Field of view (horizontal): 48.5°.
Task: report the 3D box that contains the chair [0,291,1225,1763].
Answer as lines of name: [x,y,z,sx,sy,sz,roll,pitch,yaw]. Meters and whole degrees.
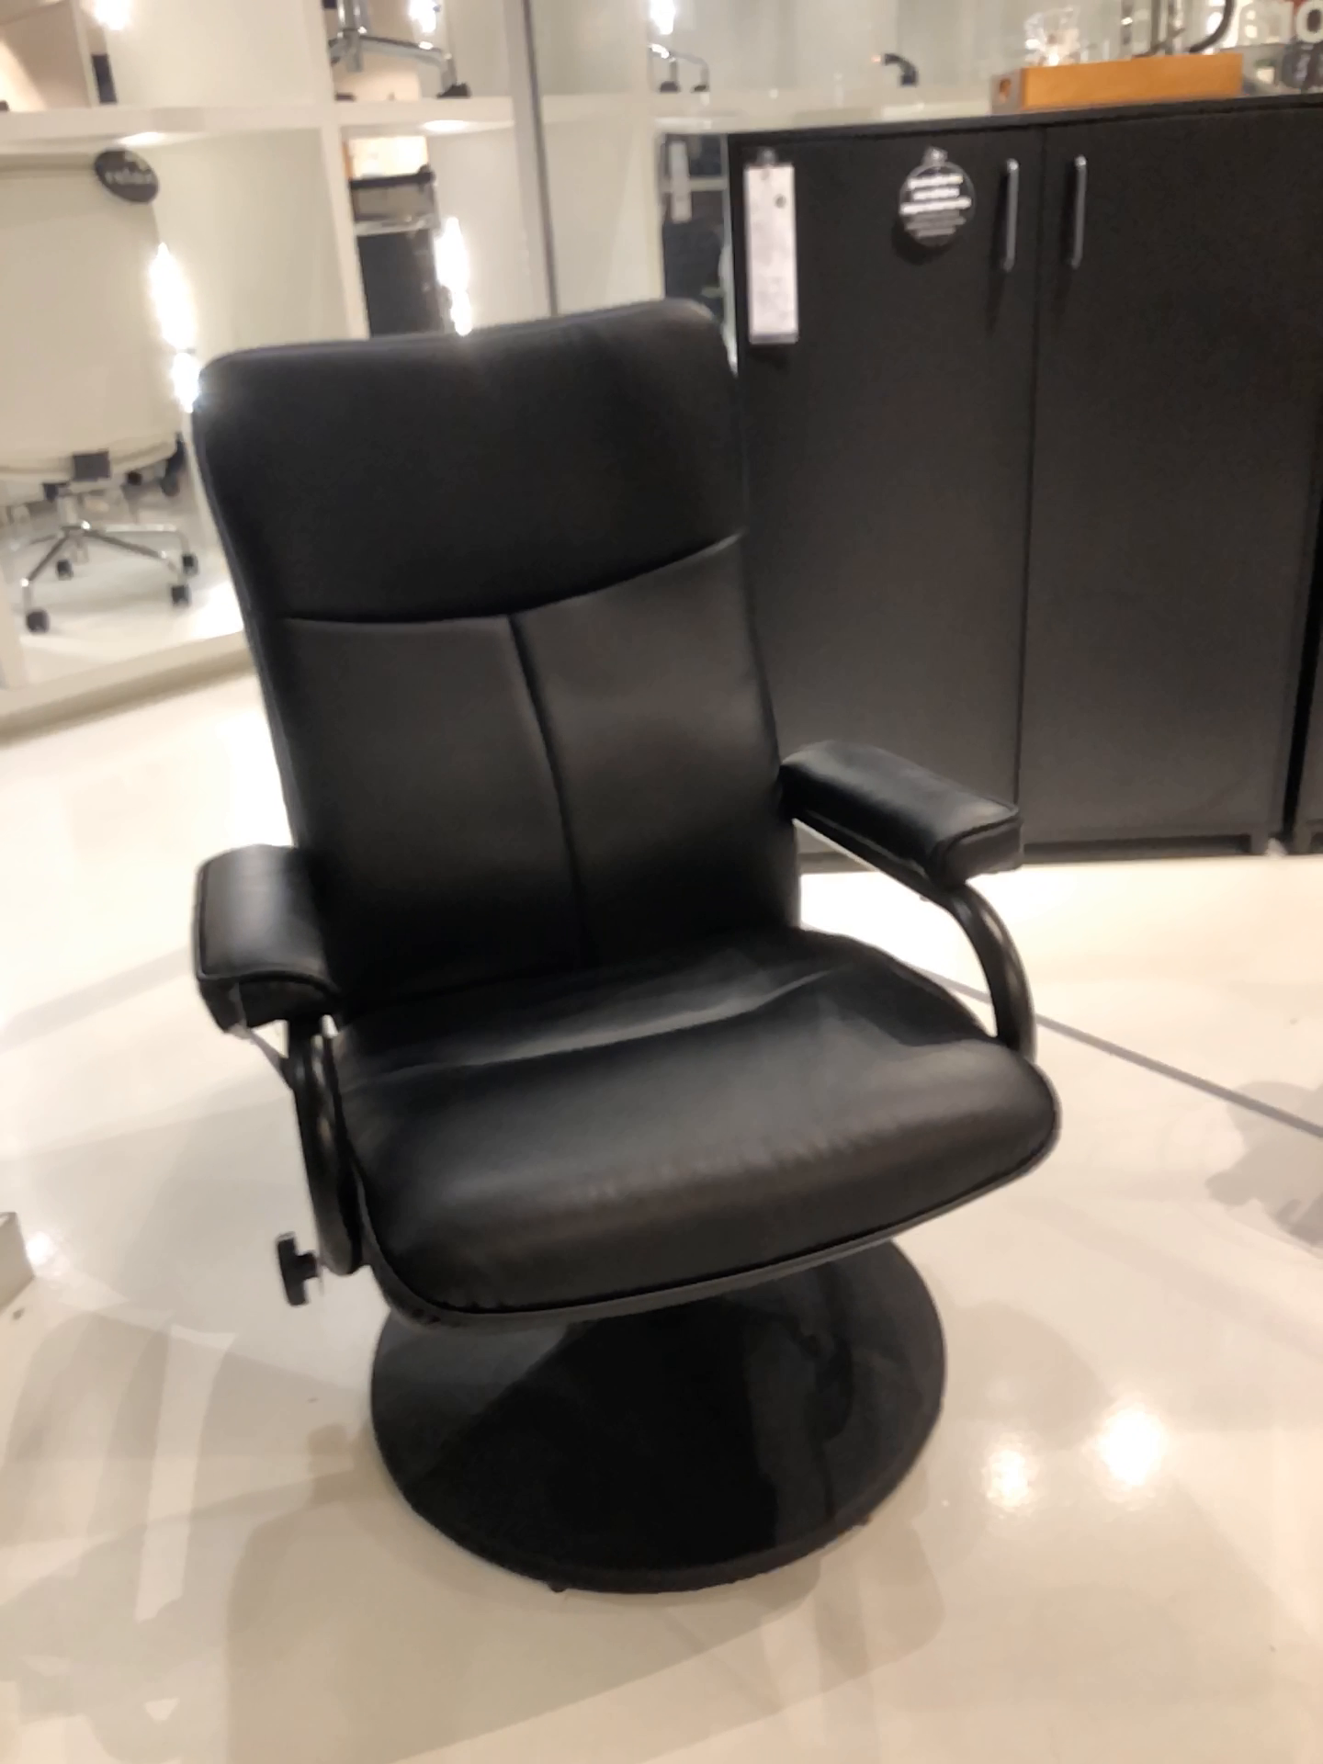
chair: [-0.075,0.051,1.312,0.690,0.993,0.735,-11,26,-15]
